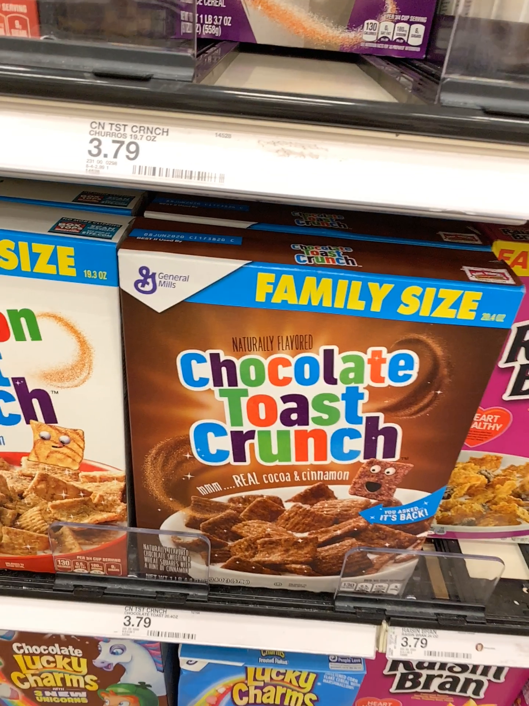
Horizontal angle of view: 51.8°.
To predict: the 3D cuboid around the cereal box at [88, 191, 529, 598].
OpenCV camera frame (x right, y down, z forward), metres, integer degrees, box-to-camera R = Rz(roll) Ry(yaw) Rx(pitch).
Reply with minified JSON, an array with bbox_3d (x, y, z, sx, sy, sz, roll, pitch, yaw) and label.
[{"bbox_3d":[0.016,0.055,0.398,0.240,0.308,0.060,5,34,-2],"label":"cereal box"}]
